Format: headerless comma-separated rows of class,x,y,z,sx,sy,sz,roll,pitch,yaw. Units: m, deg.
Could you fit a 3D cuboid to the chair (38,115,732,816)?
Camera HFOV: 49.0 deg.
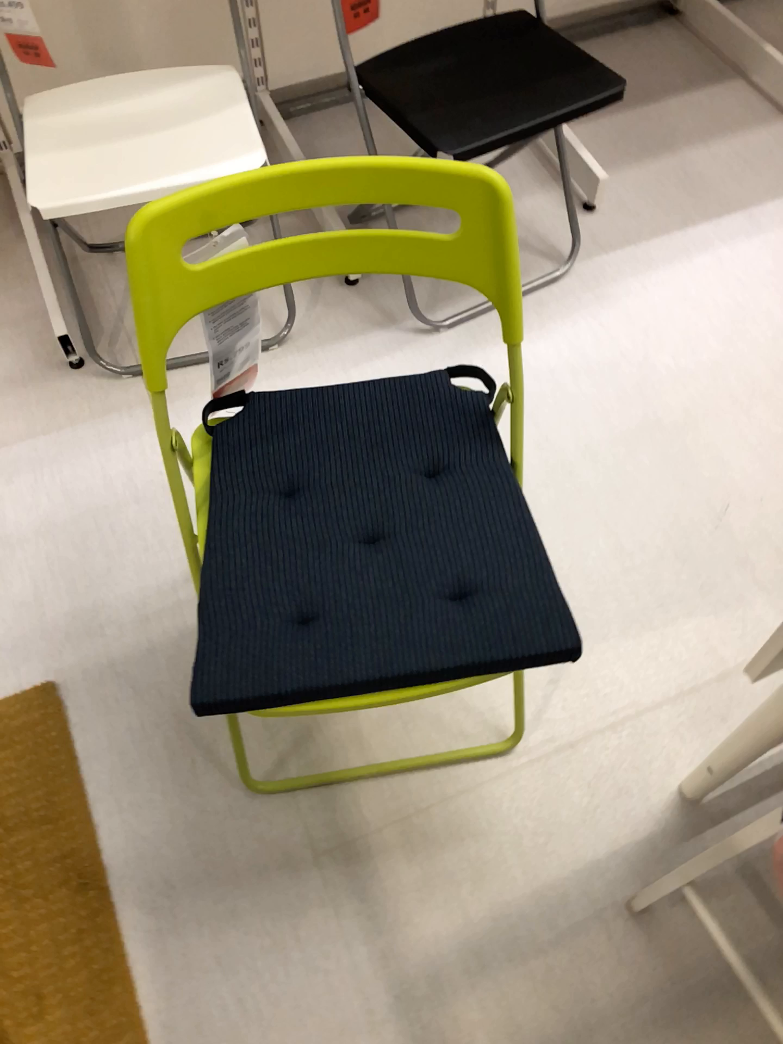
chair,-0.035,-0.011,0.990,0.490,0.637,0.462,-9,59,-5
